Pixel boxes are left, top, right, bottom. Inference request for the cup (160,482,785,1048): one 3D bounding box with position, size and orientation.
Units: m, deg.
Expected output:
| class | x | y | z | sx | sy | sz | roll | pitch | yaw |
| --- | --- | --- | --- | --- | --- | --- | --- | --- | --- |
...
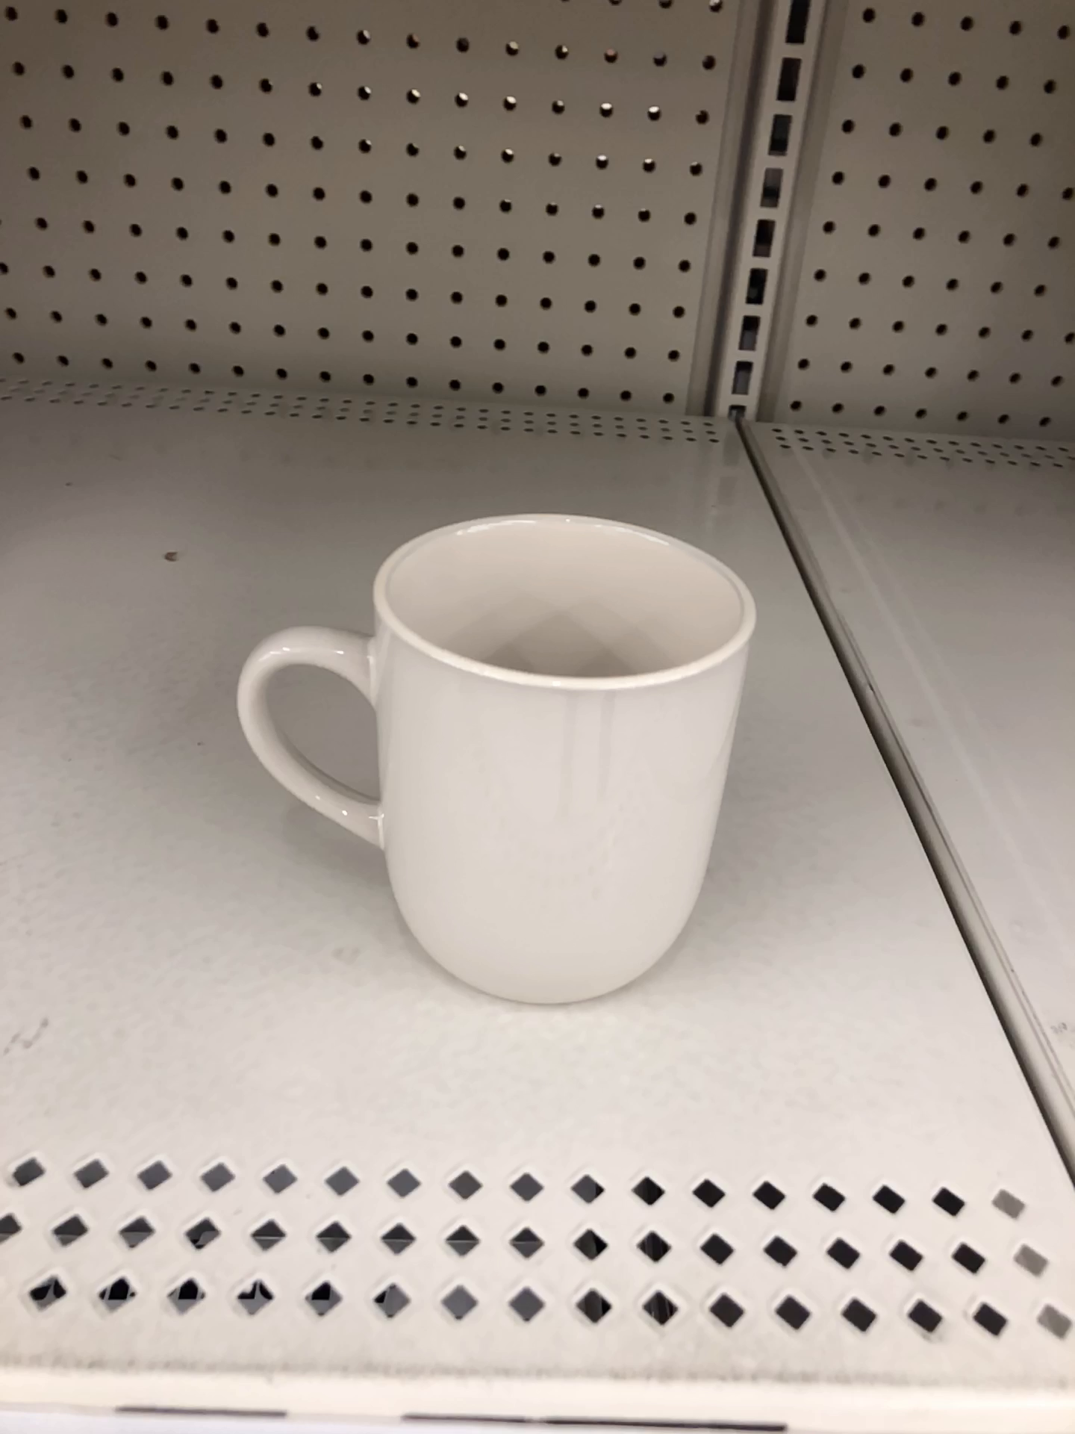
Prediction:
| class | x | y | z | sx | sy | sz | roll | pitch | yaw |
| --- | --- | --- | --- | --- | --- | --- | --- | --- | --- |
| cup | -0.011 | 0.007 | 0.287 | 0.121 | 0.090 | 0.087 | 6 | 30 | 4 |
